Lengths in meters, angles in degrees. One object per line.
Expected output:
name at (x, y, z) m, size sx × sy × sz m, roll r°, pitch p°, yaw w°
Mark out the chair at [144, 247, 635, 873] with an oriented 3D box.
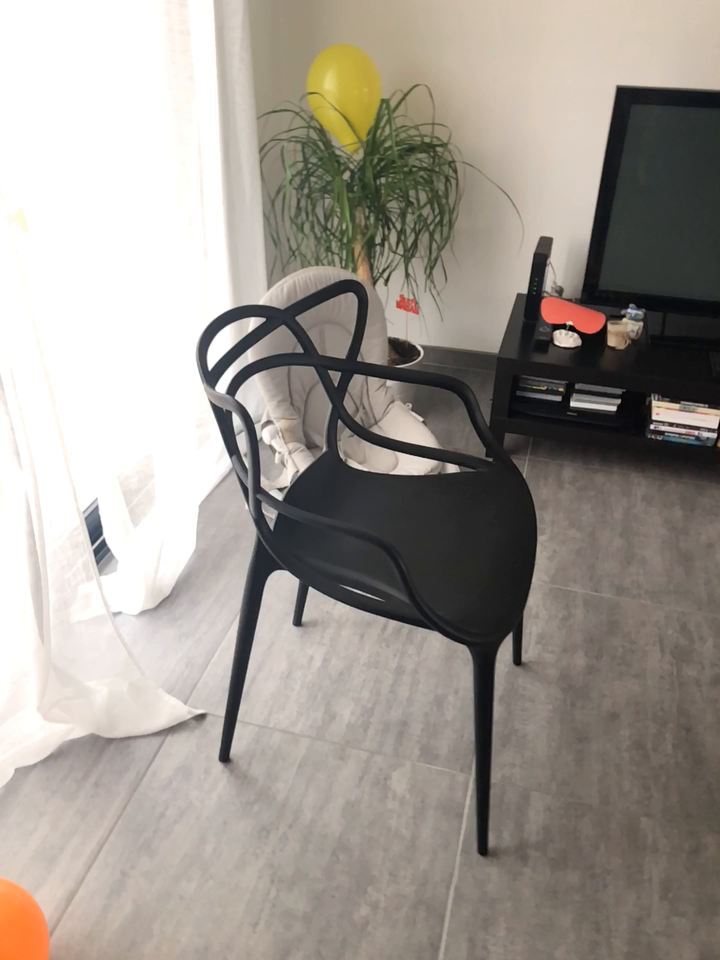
chair at (0.088, 0.105, 1.355) m, size 0.585 × 0.795 × 0.567 m, roll 10°, pitch 34°, yaw 14°
